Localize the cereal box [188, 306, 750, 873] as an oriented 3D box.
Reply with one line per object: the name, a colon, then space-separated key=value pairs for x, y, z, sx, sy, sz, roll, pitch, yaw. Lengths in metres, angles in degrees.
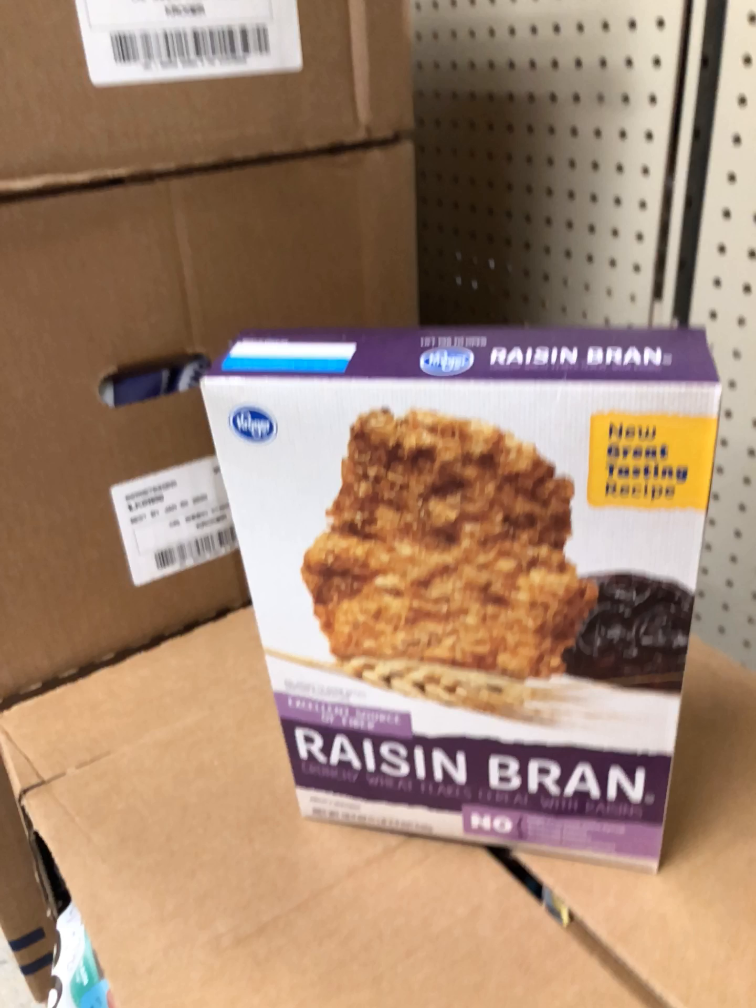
cereal box: x=0.042 y=0.048 z=0.394 sx=0.200 sy=0.269 sz=0.060 roll=4 pitch=33 yaw=13
